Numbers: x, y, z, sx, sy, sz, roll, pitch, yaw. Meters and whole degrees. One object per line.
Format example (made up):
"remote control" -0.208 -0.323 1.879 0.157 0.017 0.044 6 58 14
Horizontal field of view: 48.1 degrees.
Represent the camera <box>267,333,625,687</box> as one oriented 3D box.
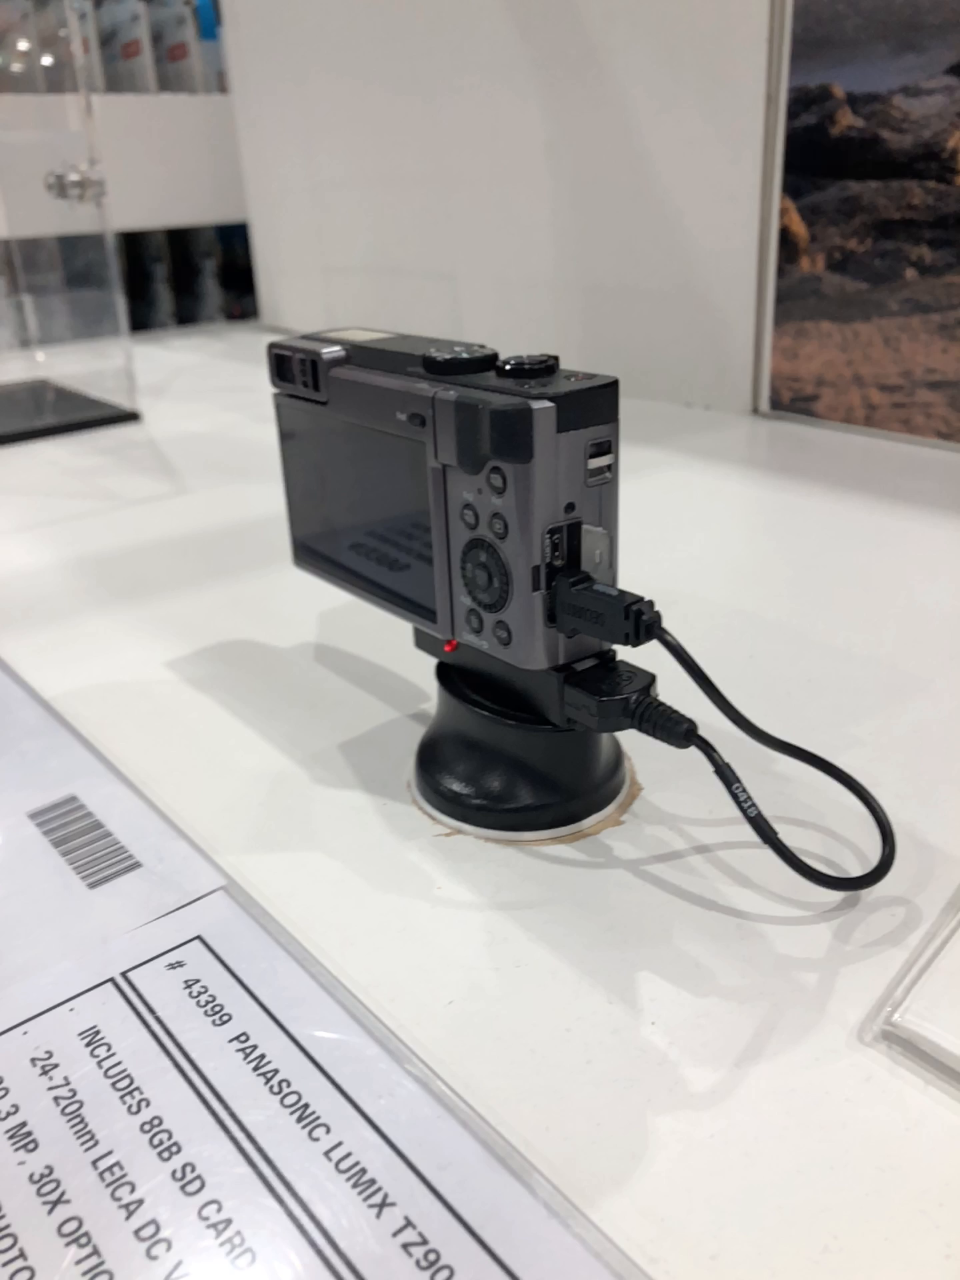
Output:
"camera" -0.012 -0.039 0.275 0.030 0.065 0.107 -19 28 -34
